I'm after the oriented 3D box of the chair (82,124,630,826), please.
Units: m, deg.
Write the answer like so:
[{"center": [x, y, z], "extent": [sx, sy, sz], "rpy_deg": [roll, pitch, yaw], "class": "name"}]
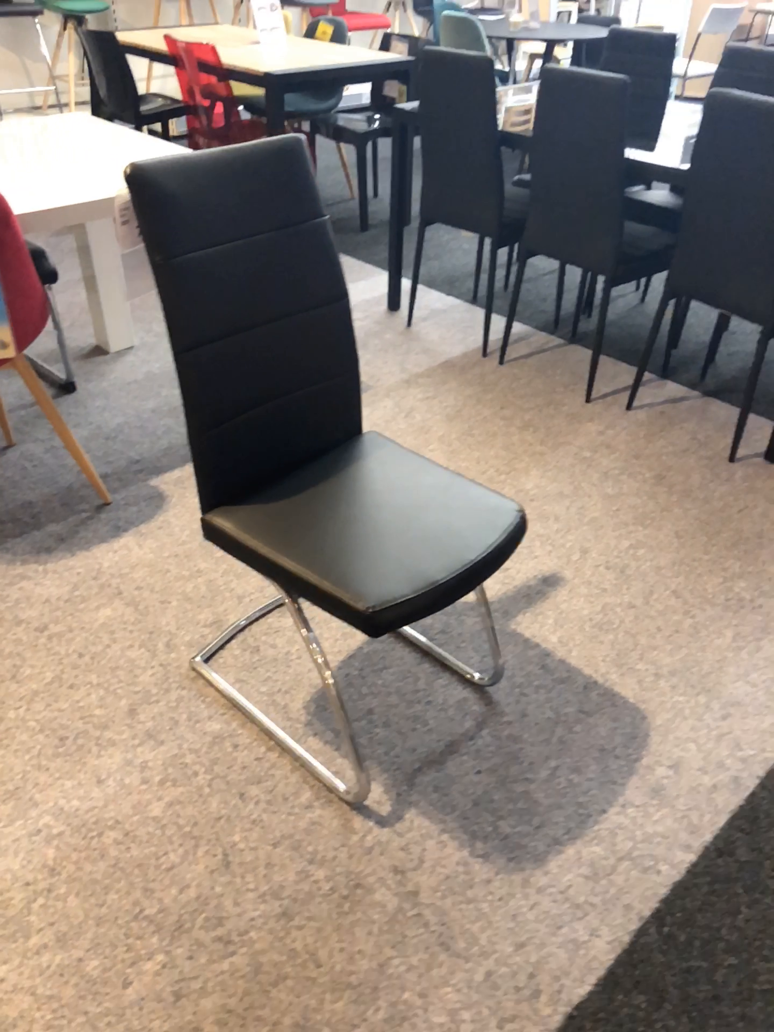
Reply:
[{"center": [-0.053, -0.088, 1.407], "extent": [0.560, 0.904, 0.493], "rpy_deg": [29, 43, 33], "class": "chair"}]
